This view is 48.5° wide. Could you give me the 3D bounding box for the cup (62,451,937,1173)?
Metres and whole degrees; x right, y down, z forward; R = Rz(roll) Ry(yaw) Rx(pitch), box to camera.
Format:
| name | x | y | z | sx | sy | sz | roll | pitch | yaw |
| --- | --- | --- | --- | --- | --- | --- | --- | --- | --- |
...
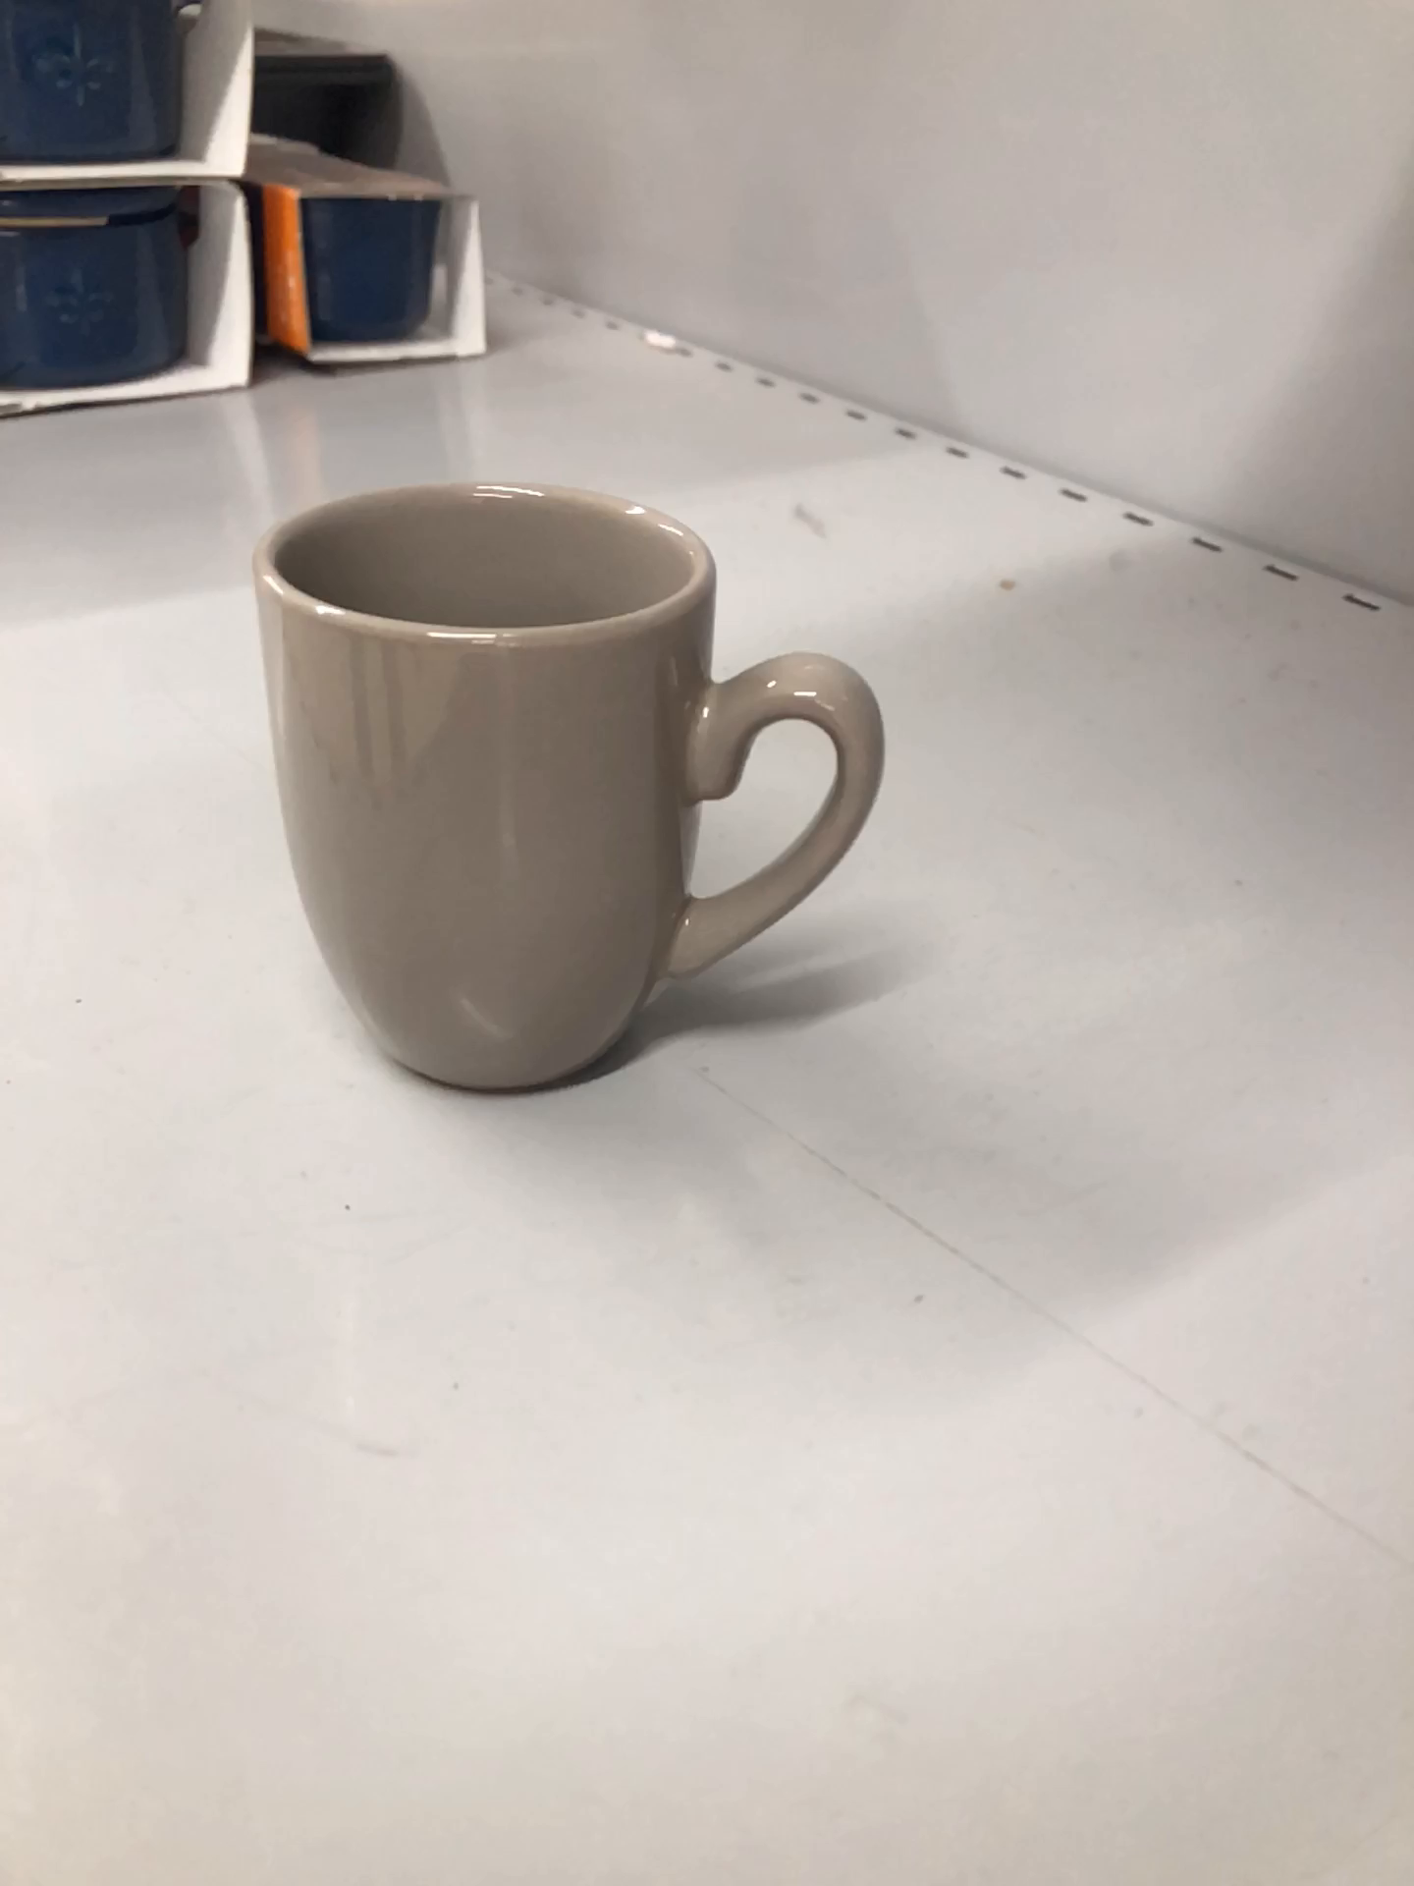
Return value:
| name | x | y | z | sx | sy | sz | roll | pitch | yaw |
| --- | --- | --- | --- | --- | --- | --- | --- | --- | --- |
| cup | -0.021 | -0.021 | 0.210 | 0.091 | 0.062 | 0.065 | 8 | 33 | 9 |
